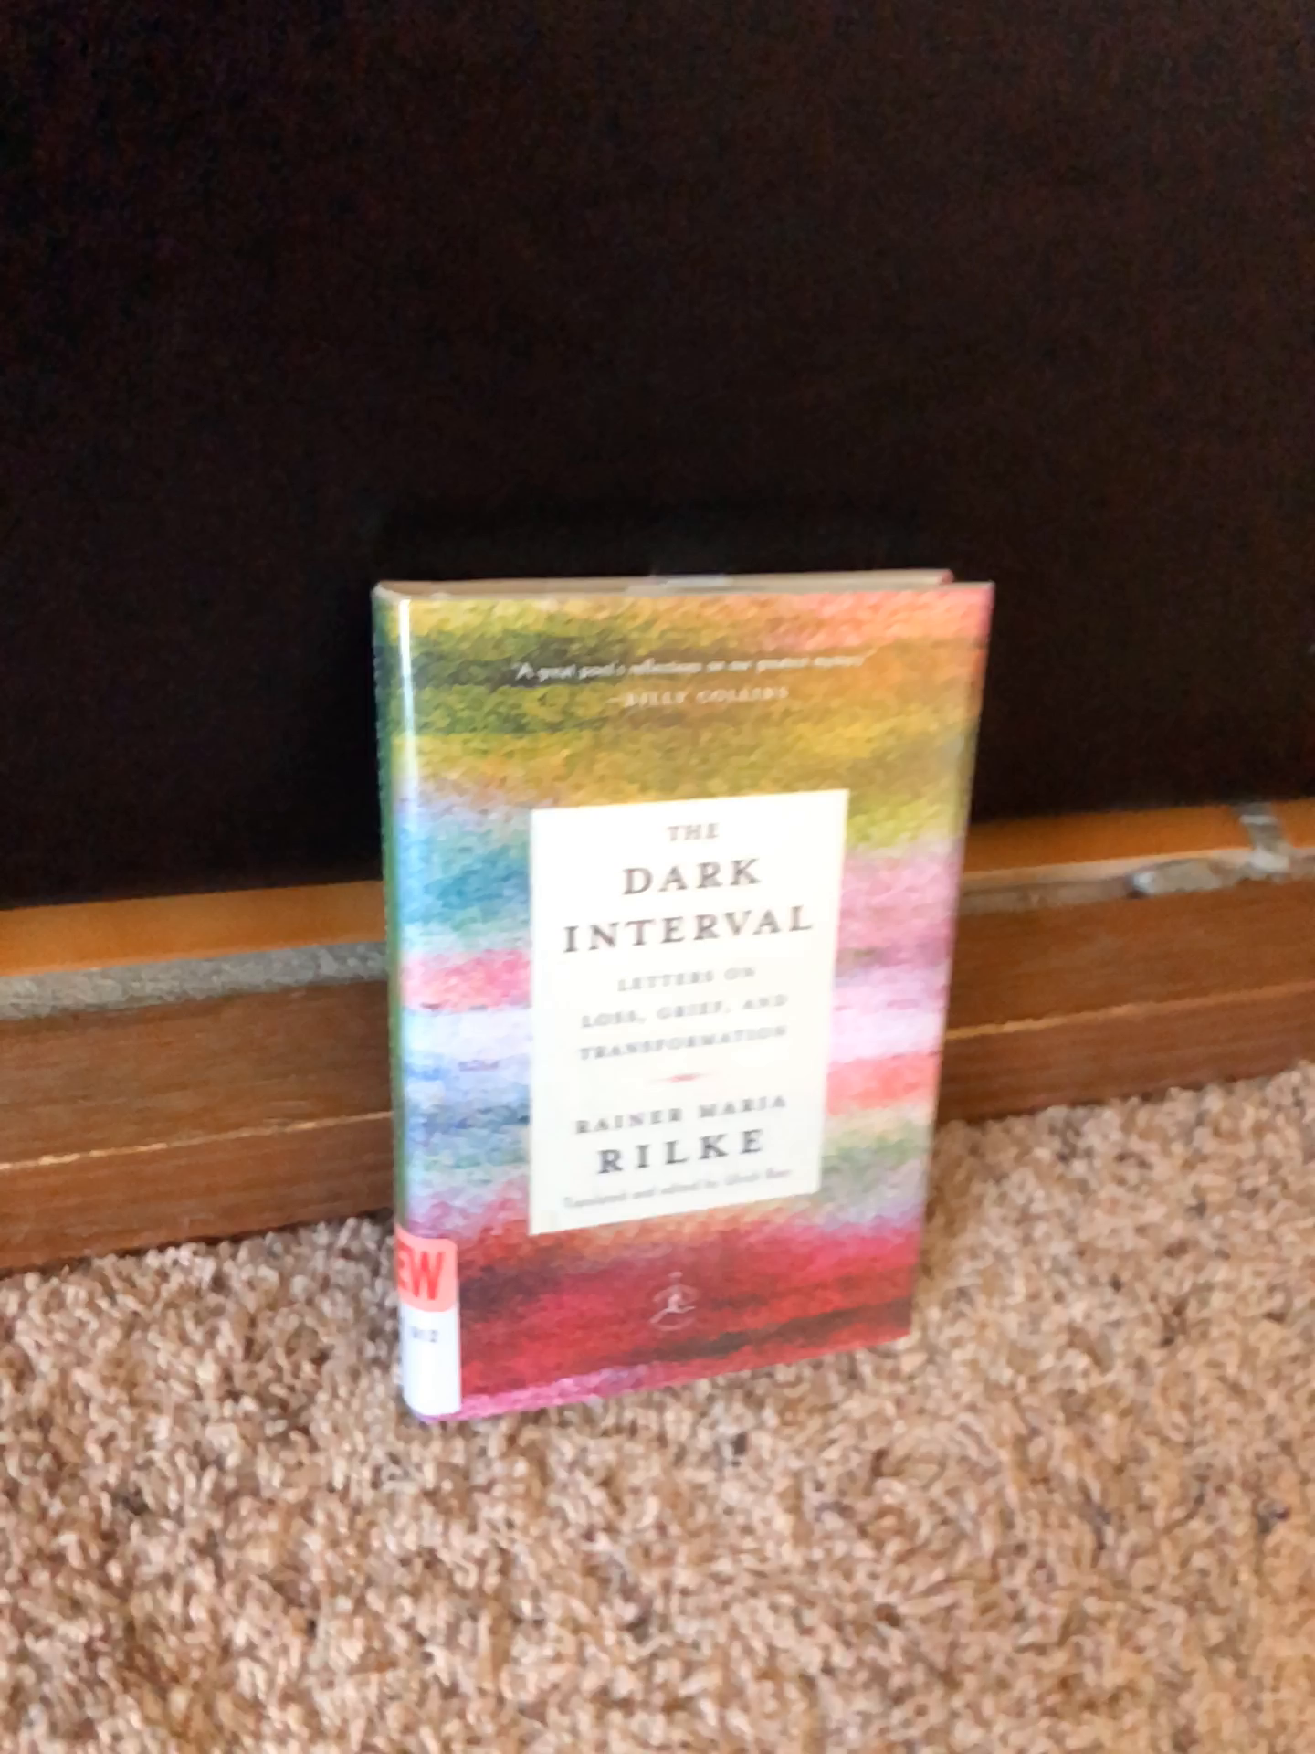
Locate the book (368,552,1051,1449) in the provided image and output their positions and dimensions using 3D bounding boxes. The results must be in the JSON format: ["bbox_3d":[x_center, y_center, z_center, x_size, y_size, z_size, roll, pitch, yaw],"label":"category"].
[{"bbox_3d":[0.009,0.026,0.325,0.135,0.190,0.030,-4,20,-19],"label":"book"}]
